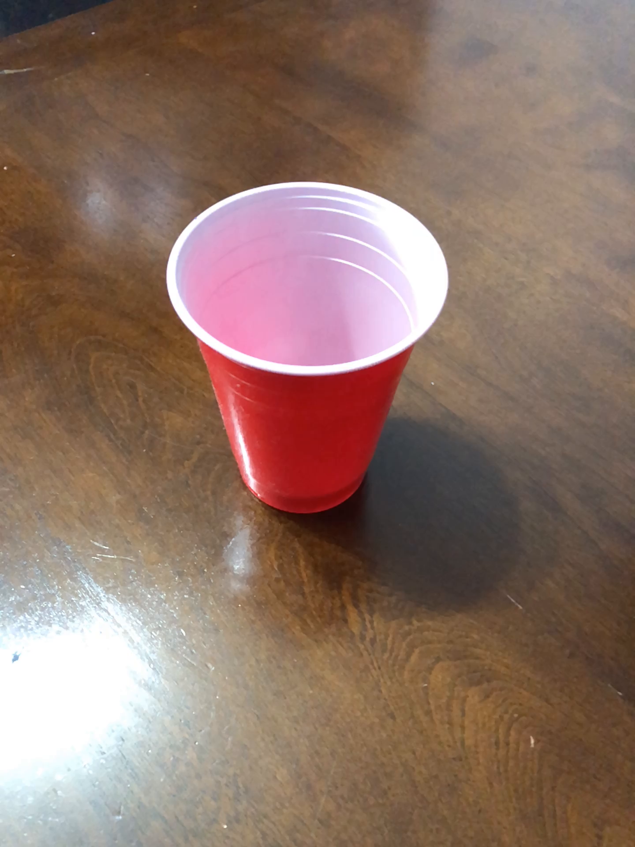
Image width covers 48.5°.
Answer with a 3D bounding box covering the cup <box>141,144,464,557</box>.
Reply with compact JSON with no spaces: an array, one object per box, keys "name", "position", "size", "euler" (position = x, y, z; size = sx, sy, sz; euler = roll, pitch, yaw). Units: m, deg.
[{"name":"cup","position":[-0.001,-0.024,0.272],"size":[0.090,0.120,0.090],"euler":[1,51,-1]}]
